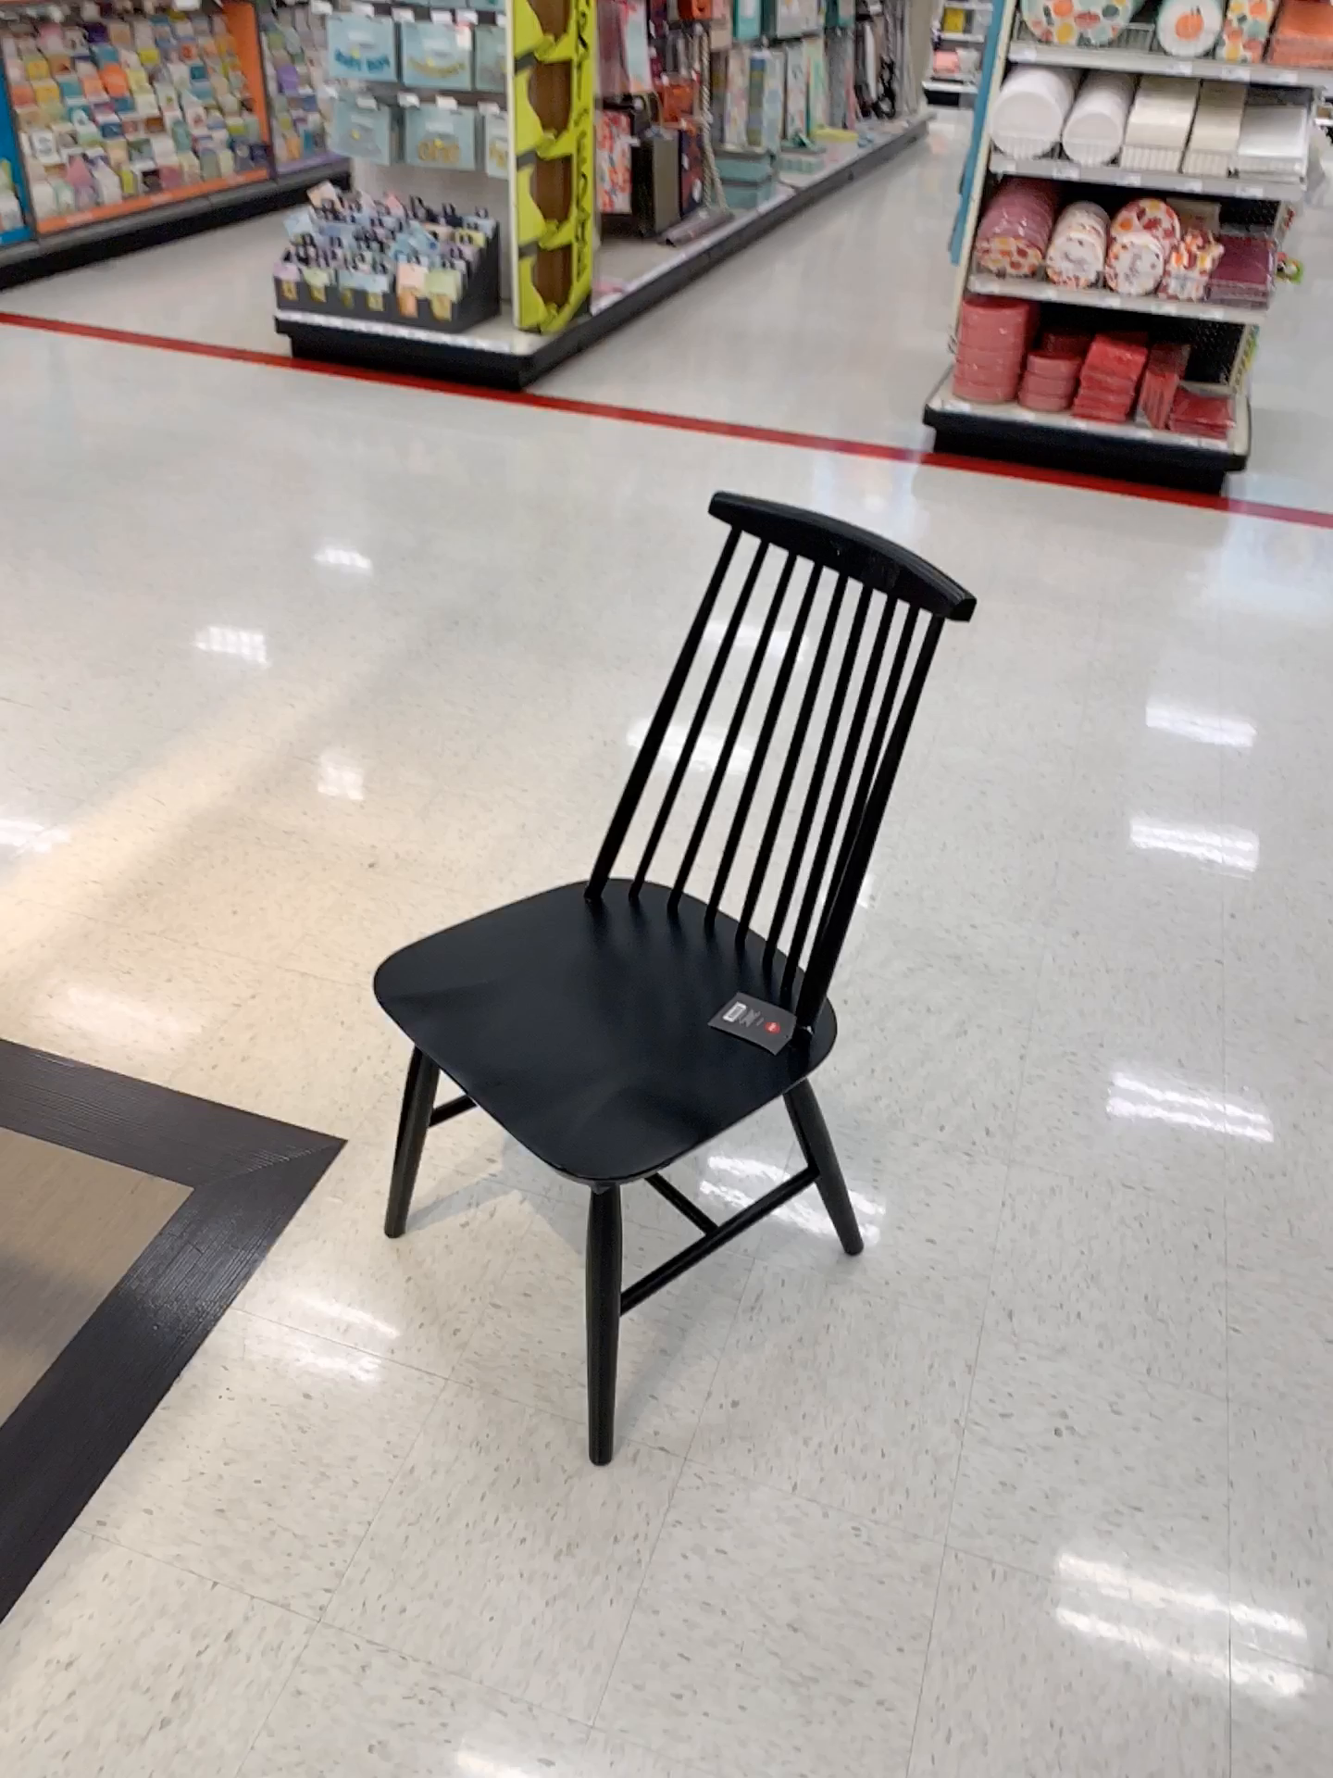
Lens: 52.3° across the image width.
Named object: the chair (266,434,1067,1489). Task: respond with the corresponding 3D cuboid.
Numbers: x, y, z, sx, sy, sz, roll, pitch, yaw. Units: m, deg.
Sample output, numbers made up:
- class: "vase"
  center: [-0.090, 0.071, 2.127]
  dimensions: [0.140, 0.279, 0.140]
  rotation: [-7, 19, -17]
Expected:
- class: "chair"
  center: [-0.028, 0.069, 1.565]
  dimensions: [0.551, 0.945, 0.532]
  rotation: [-24, 44, -33]
